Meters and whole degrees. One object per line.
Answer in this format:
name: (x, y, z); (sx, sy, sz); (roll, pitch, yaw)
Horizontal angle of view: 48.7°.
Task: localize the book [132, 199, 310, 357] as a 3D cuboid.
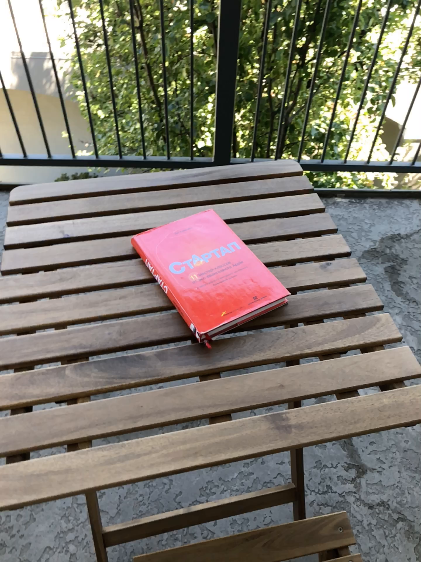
book: (0.009, -0.019, 0.749); (0.180, 0.050, 0.241); (-23, 53, -21)
